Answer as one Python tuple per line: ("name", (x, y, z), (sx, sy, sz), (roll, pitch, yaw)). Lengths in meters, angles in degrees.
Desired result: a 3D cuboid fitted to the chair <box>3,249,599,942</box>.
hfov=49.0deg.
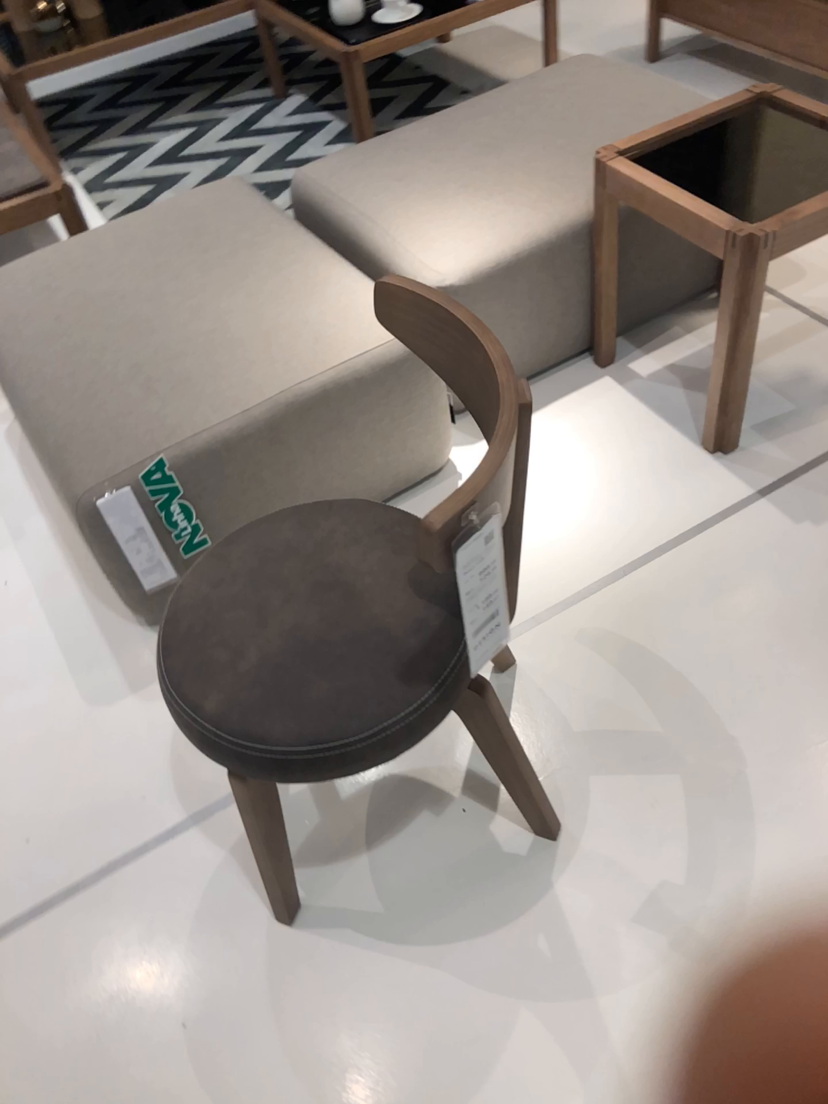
("chair", (-0.077, 0.093, 1.206), (0.520, 0.705, 0.503), (-10, 47, 2))
